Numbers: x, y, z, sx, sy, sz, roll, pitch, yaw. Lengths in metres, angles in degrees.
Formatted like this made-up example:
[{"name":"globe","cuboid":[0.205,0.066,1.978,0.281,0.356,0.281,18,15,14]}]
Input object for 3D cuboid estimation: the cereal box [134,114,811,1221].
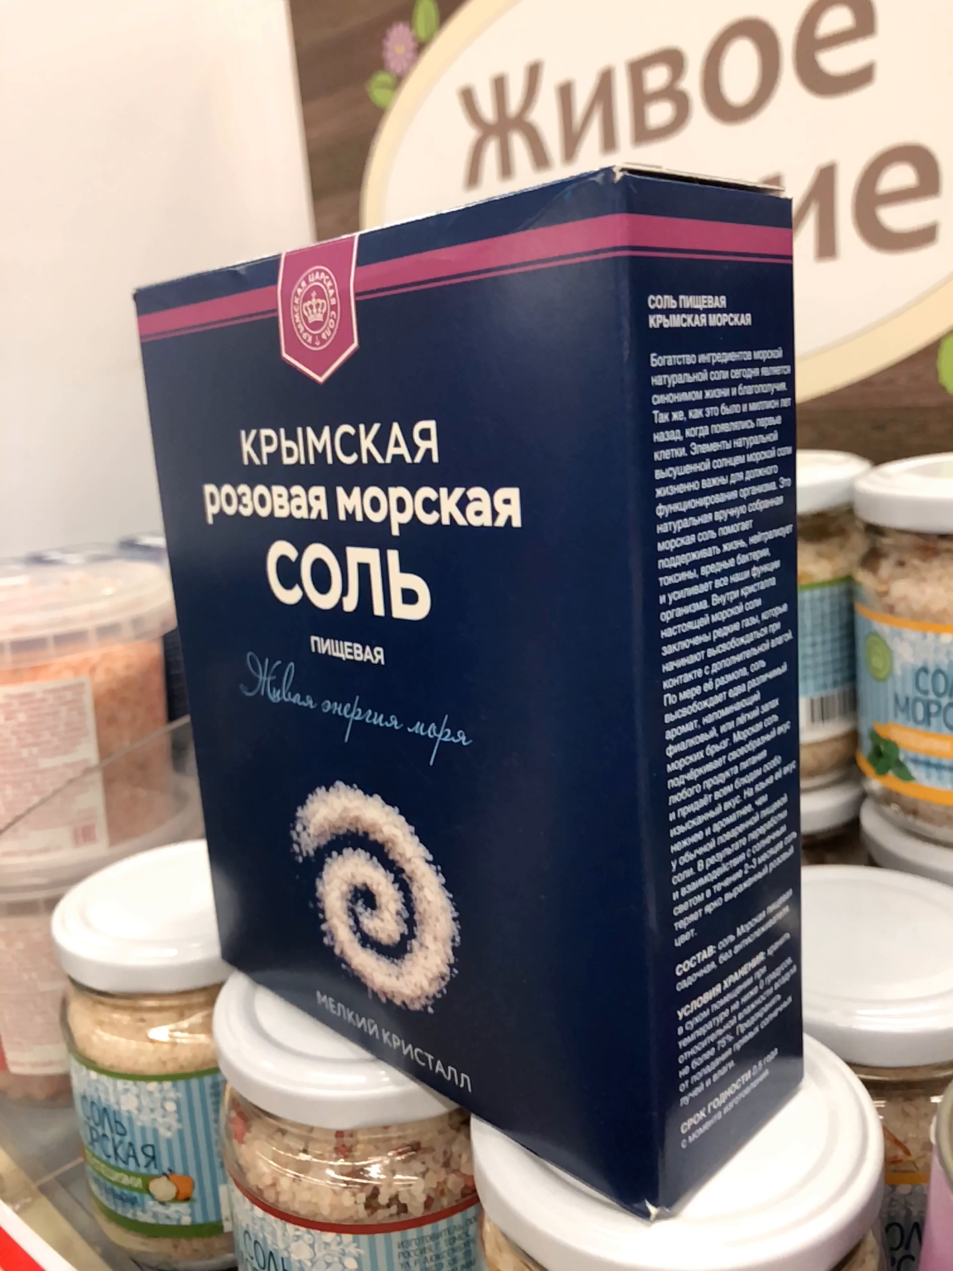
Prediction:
[{"name":"cereal box","cuboid":[-0.005,0.002,0.196,0.040,0.149,0.120,-16,17,-42]}]
